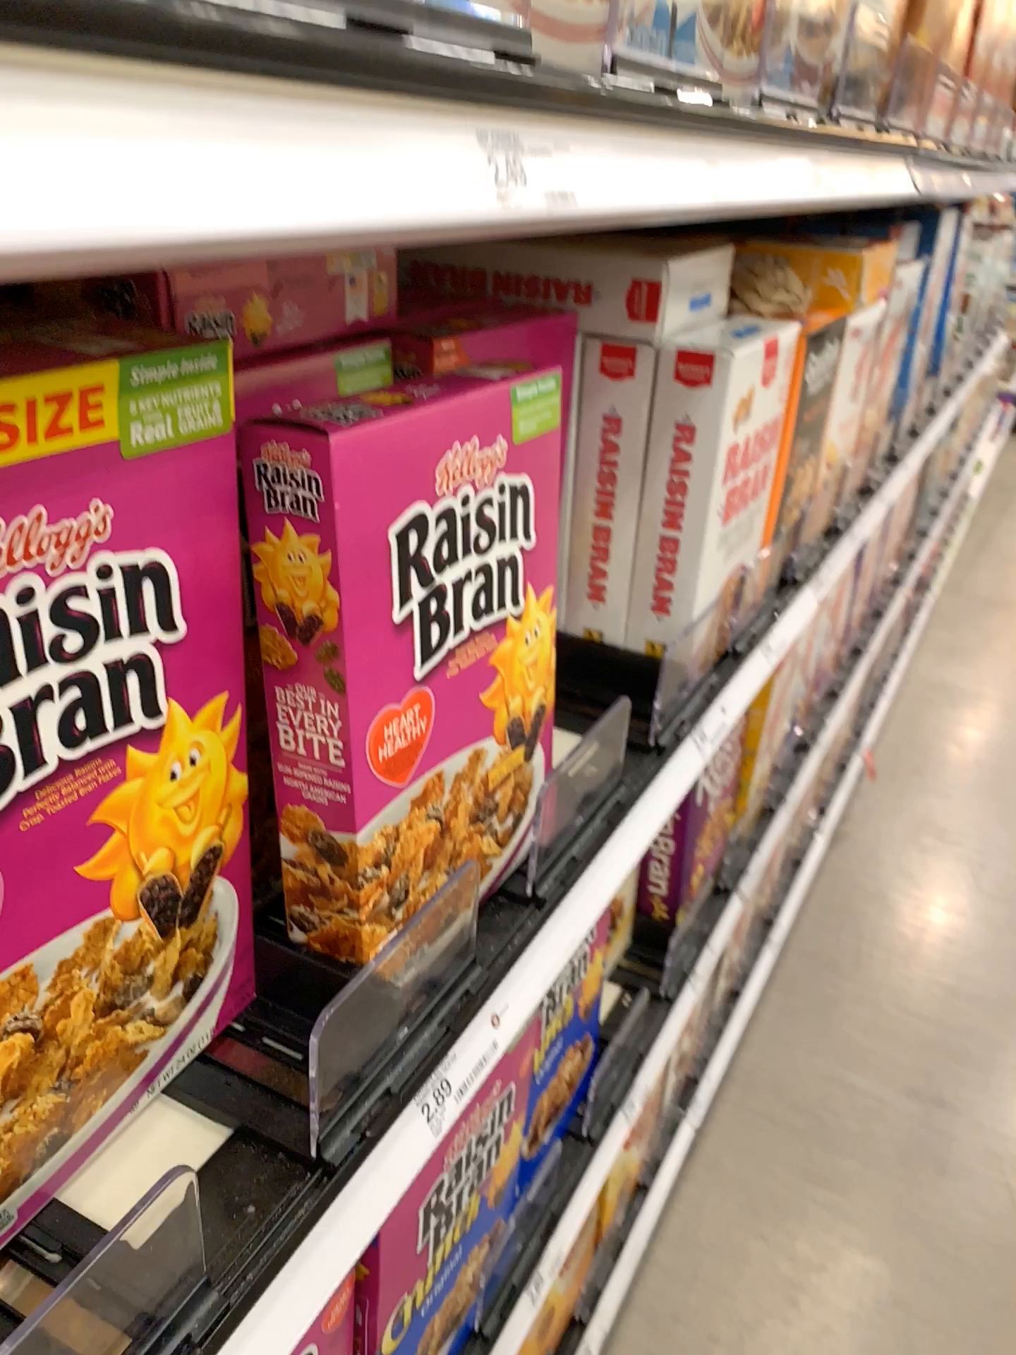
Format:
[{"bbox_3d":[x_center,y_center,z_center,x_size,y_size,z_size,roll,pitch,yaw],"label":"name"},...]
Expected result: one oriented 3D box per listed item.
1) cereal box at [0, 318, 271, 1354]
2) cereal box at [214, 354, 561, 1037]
[{"bbox_3d":[-0.184,0.047,0.362,0.060,0.298,0.221,15,29,23],"label":"cereal box"},{"bbox_3d":[-0.042,-0.002,0.522,0.050,0.279,0.201,12,28,25],"label":"cereal box"}]
